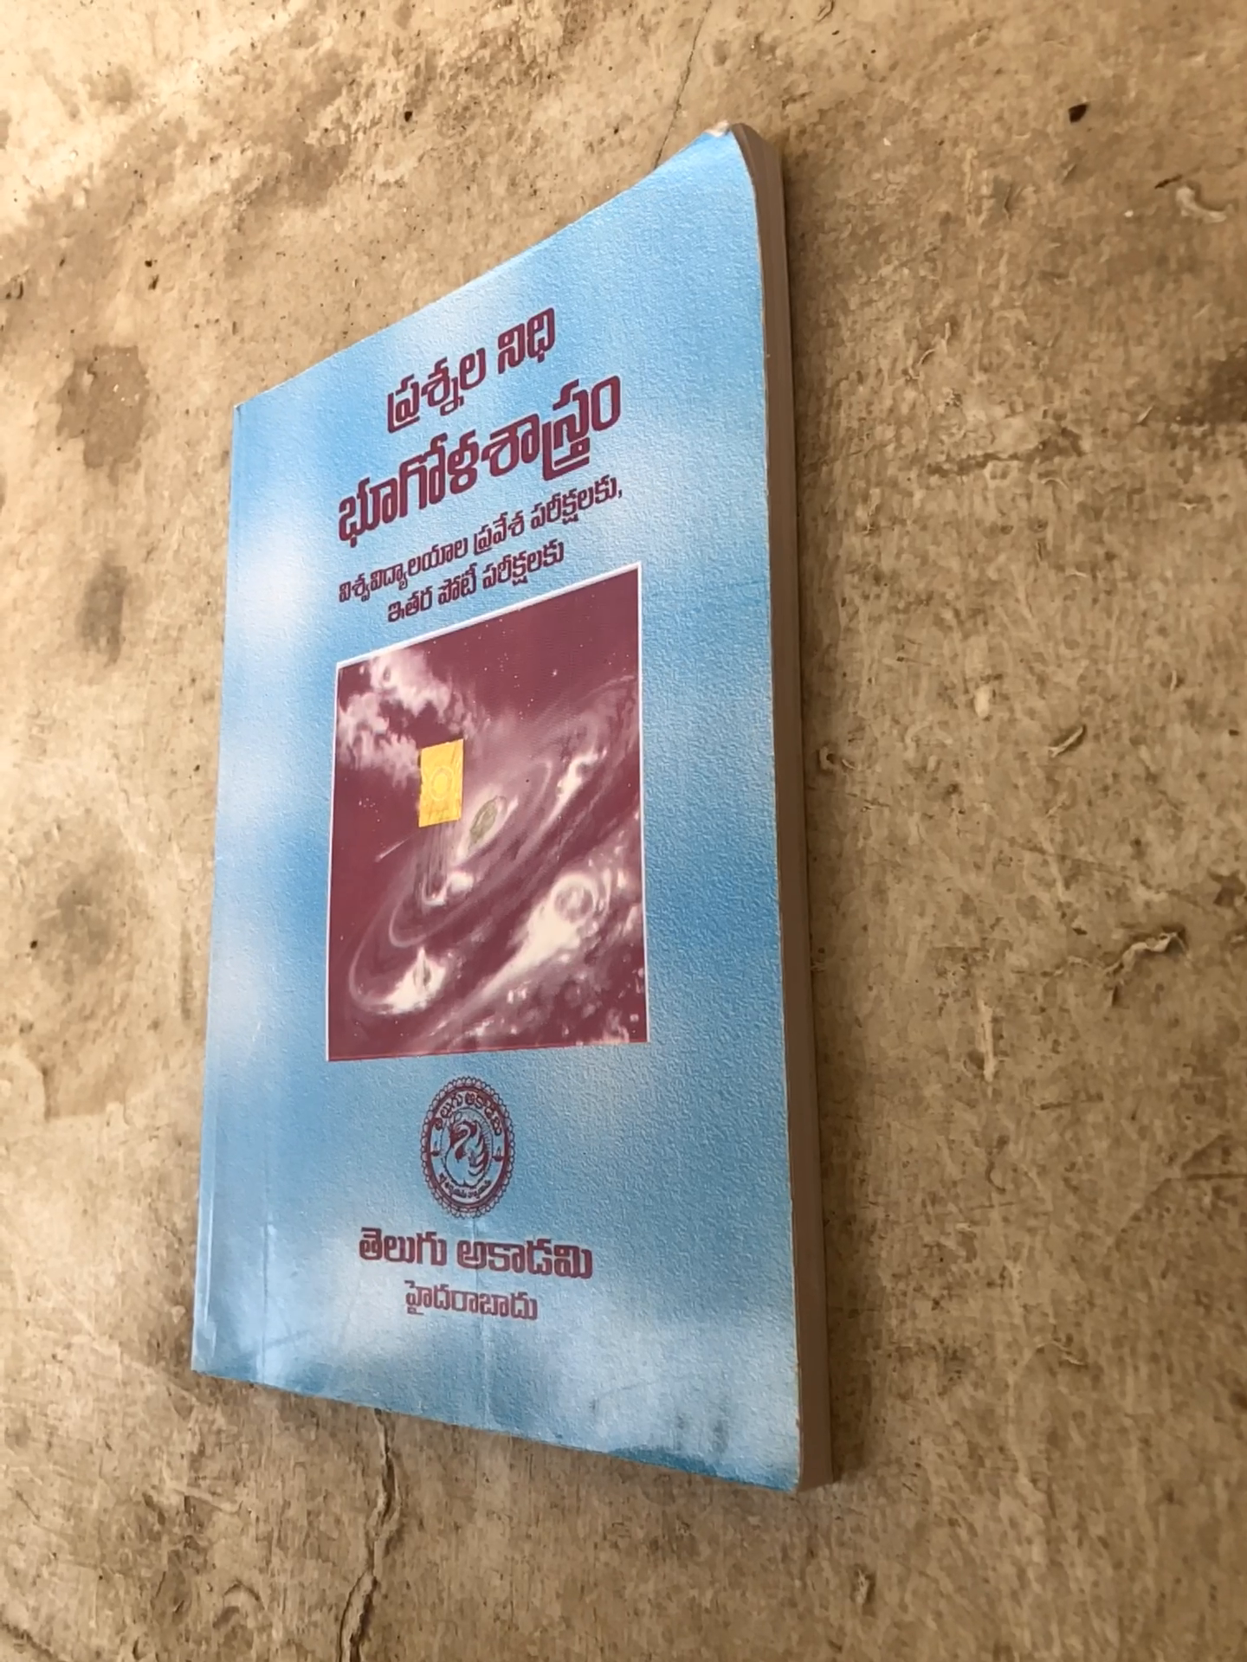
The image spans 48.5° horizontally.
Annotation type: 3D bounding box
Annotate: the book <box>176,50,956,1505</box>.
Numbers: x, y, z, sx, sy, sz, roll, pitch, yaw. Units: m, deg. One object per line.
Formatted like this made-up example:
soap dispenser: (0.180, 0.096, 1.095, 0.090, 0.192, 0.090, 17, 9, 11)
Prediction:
book: (-0.028, -0.008, 0.324, 0.191, 0.040, 0.270, -10, 75, 39)
